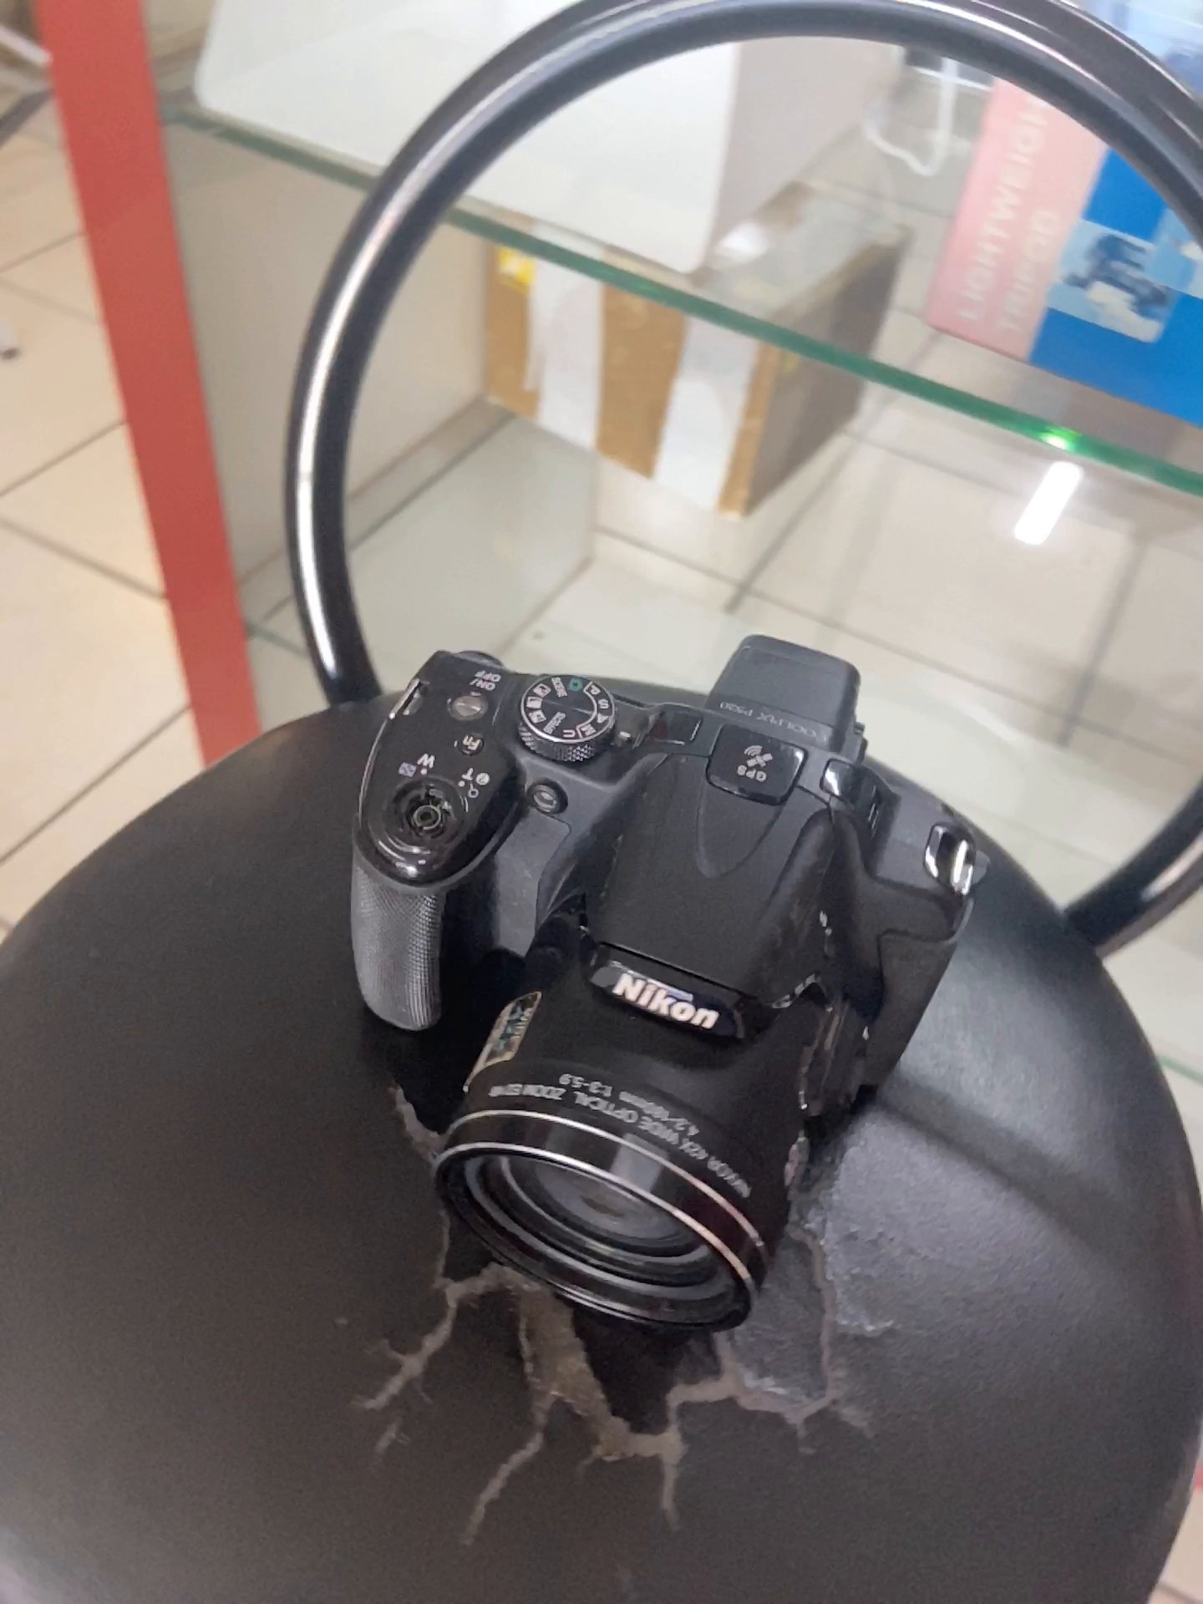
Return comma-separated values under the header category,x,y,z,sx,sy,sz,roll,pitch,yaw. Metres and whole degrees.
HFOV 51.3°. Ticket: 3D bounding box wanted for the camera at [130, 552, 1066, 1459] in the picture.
category,x,y,z,sx,sy,sz,roll,pitch,yaw
camera,0.007,0.030,0.244,0.130,0.070,0.121,18,48,10
